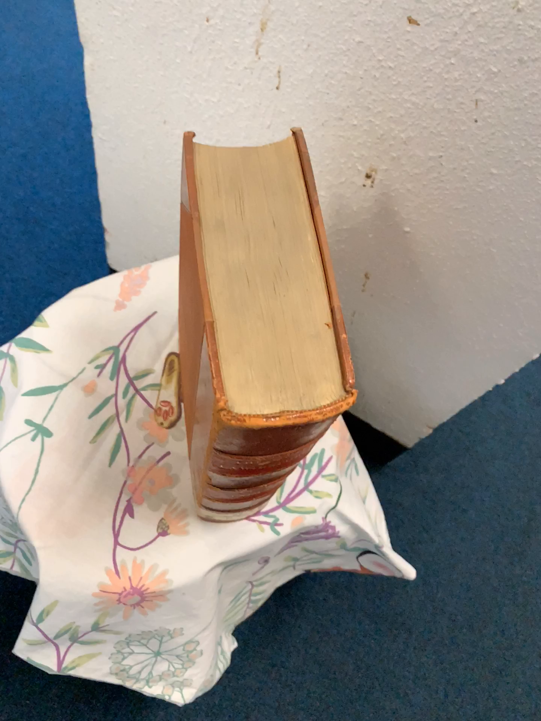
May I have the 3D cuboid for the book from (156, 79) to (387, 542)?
[{"bbox_3d":[-0.028,-0.004,0.358,0.070,0.249,0.191,-4,66,-14],"label":"book"}]
